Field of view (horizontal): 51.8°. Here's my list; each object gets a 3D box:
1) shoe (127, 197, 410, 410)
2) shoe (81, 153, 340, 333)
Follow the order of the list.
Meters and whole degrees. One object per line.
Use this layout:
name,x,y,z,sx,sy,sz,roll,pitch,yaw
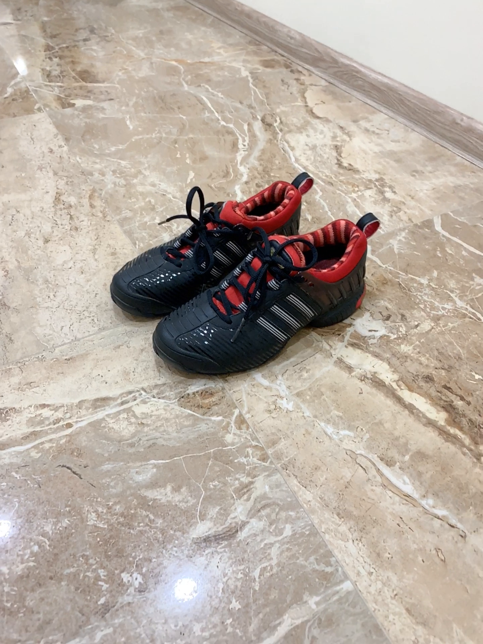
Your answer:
shoe,0.033,-0.030,0.512,0.270,0.090,0.096,-24,51,-24
shoe,-0.027,-0.100,0.571,0.270,0.090,0.096,-24,51,-24
